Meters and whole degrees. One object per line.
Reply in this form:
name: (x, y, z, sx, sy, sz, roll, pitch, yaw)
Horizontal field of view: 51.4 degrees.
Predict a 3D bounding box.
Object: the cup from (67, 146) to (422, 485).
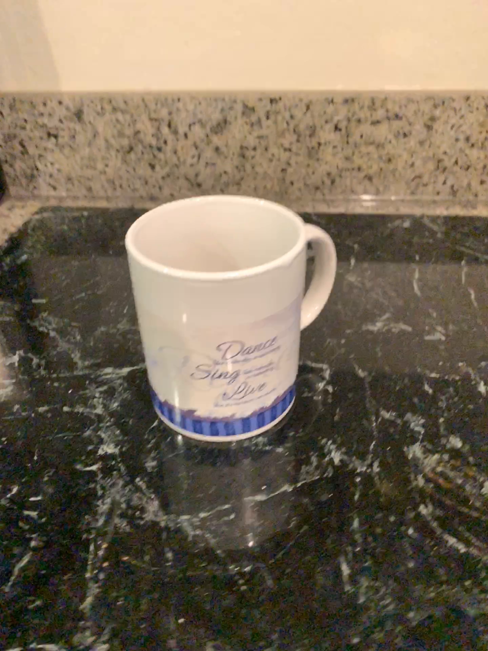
cup: (0.003, -0.016, 0.254, 0.130, 0.099, 0.091, -26, 42, -30)
